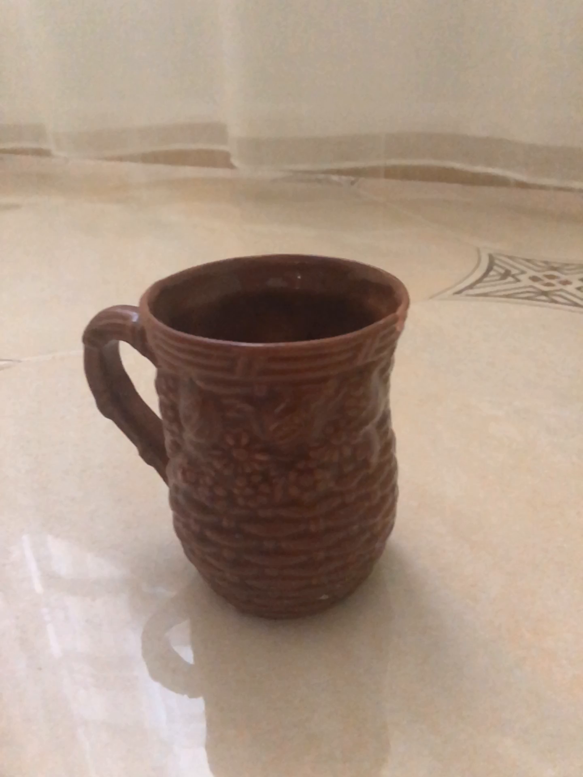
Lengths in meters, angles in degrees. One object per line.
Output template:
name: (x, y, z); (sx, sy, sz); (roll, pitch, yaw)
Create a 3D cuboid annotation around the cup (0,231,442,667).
cup: (-0.021, 0.007, 0.197); (0.105, 0.081, 0.073); (15, 32, 31)
